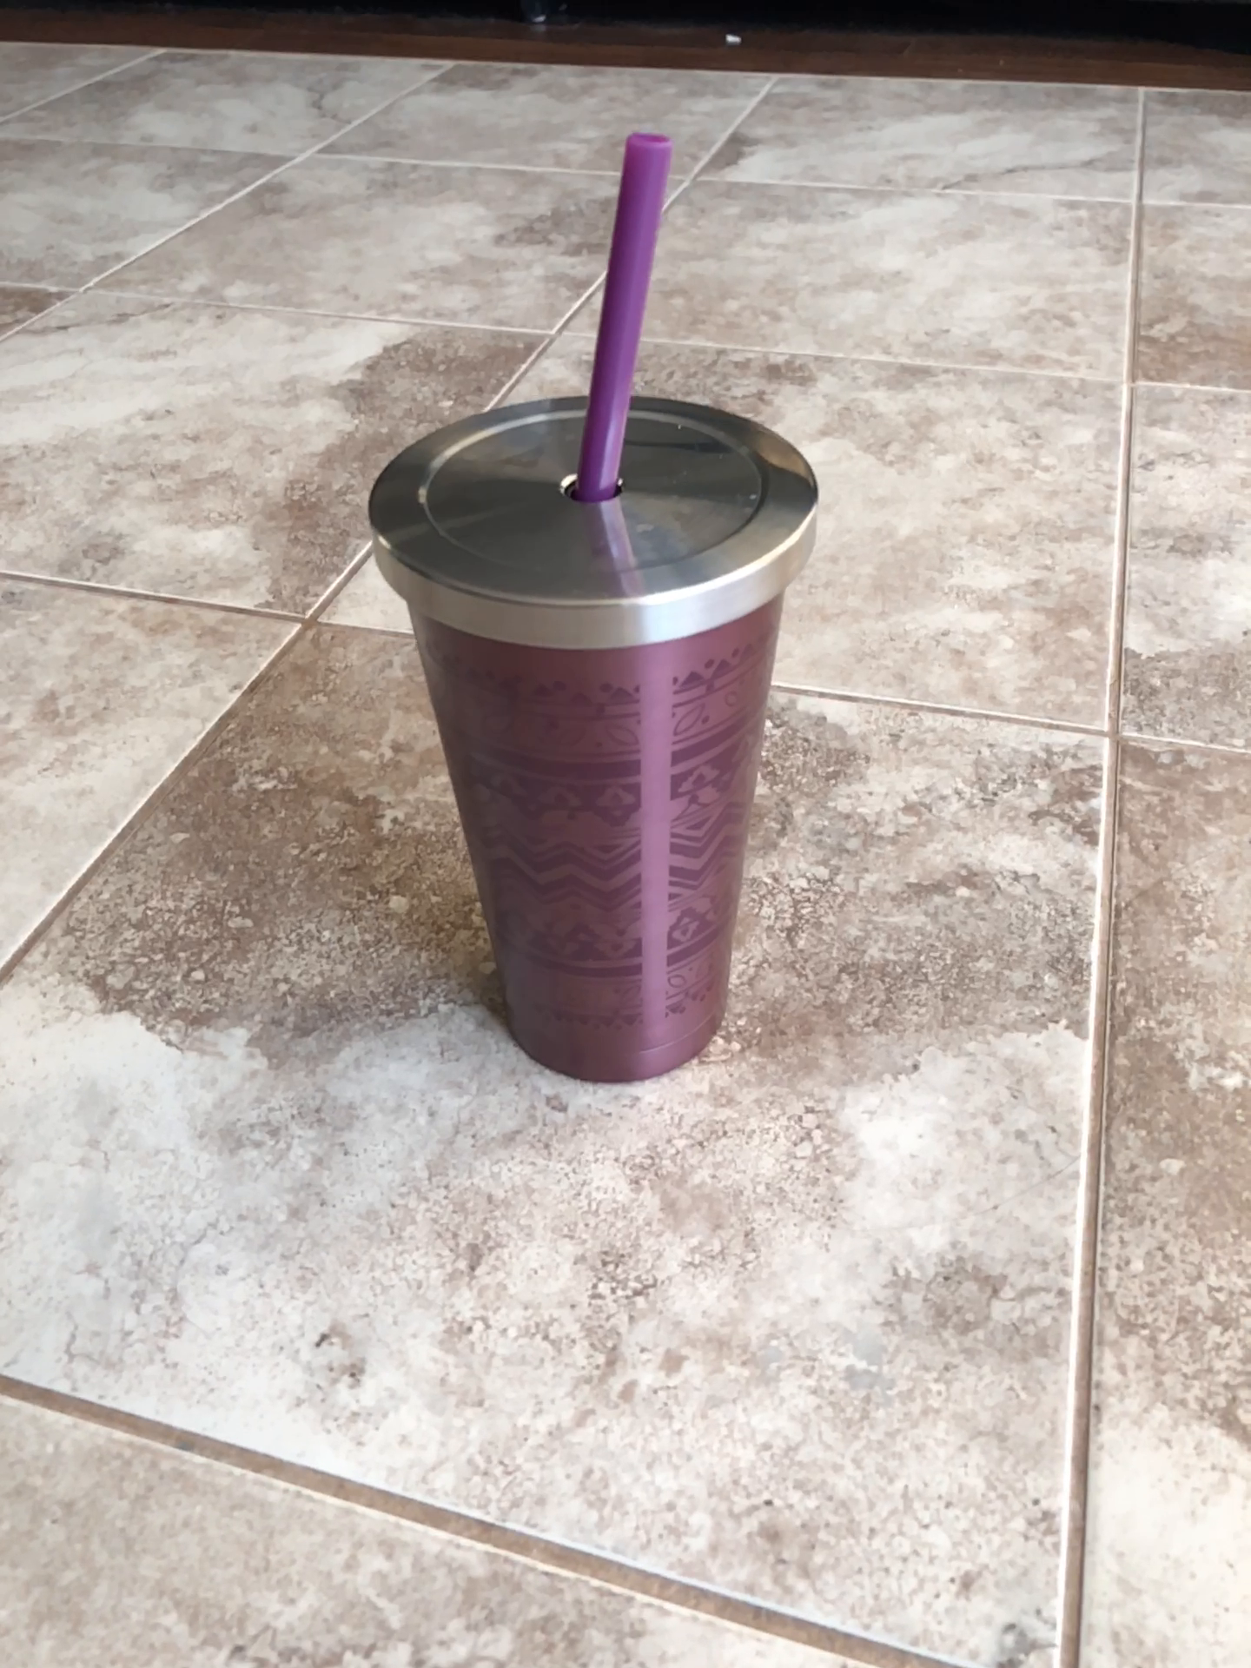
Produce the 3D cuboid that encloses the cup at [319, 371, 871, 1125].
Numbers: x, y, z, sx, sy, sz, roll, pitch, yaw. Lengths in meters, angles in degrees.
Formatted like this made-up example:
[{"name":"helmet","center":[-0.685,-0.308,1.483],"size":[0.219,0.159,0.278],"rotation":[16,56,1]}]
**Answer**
[{"name":"cup","center":[0.001,-0.021,0.371],"size":[0.111,0.165,0.103],"rotation":[-1,40,1]}]
